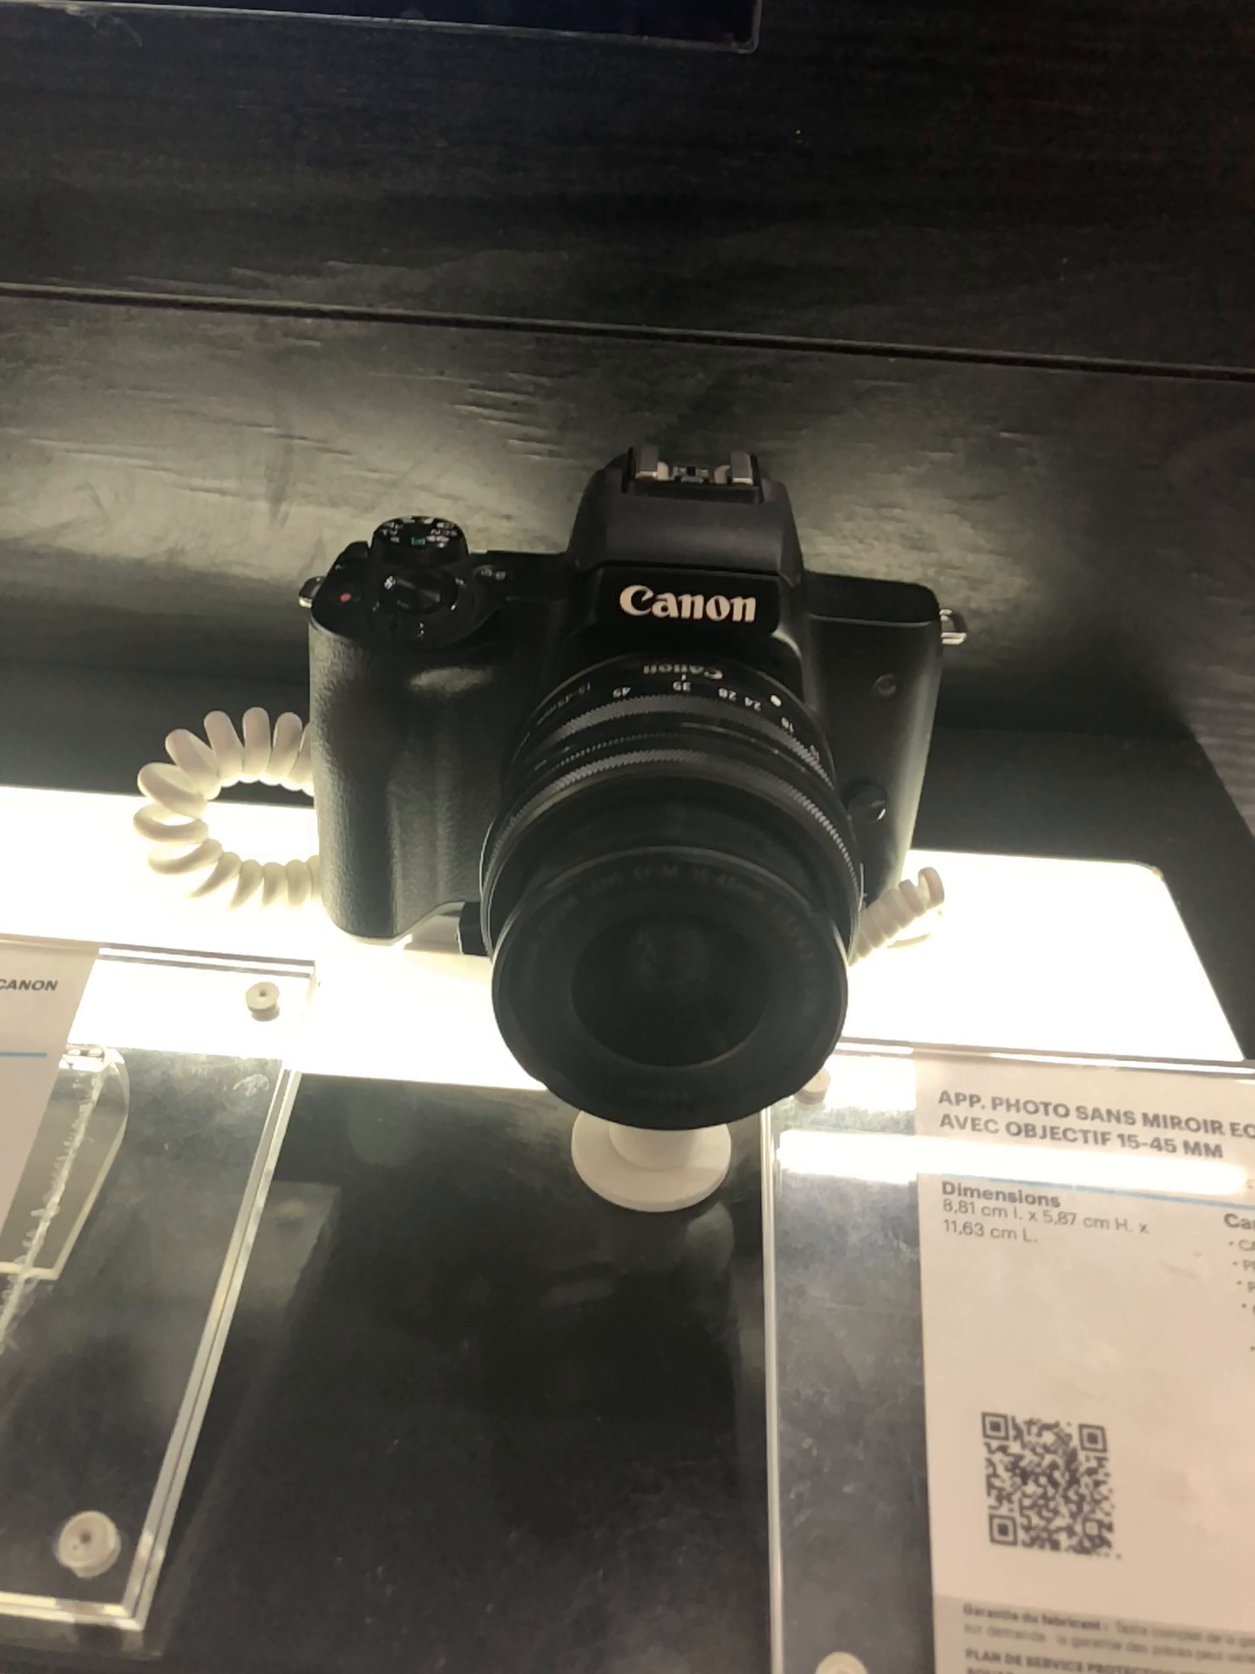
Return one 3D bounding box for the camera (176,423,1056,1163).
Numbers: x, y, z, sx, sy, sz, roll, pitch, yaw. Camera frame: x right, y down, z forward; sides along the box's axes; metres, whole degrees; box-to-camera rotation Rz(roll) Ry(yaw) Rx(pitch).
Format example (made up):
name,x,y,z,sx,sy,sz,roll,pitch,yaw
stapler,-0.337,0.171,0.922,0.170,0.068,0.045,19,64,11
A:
name,x,y,z,sx,sy,sz,roll,pitch,yaw
camera,-0.001,-0.014,0.253,0.119,0.089,0.101,4,30,1
